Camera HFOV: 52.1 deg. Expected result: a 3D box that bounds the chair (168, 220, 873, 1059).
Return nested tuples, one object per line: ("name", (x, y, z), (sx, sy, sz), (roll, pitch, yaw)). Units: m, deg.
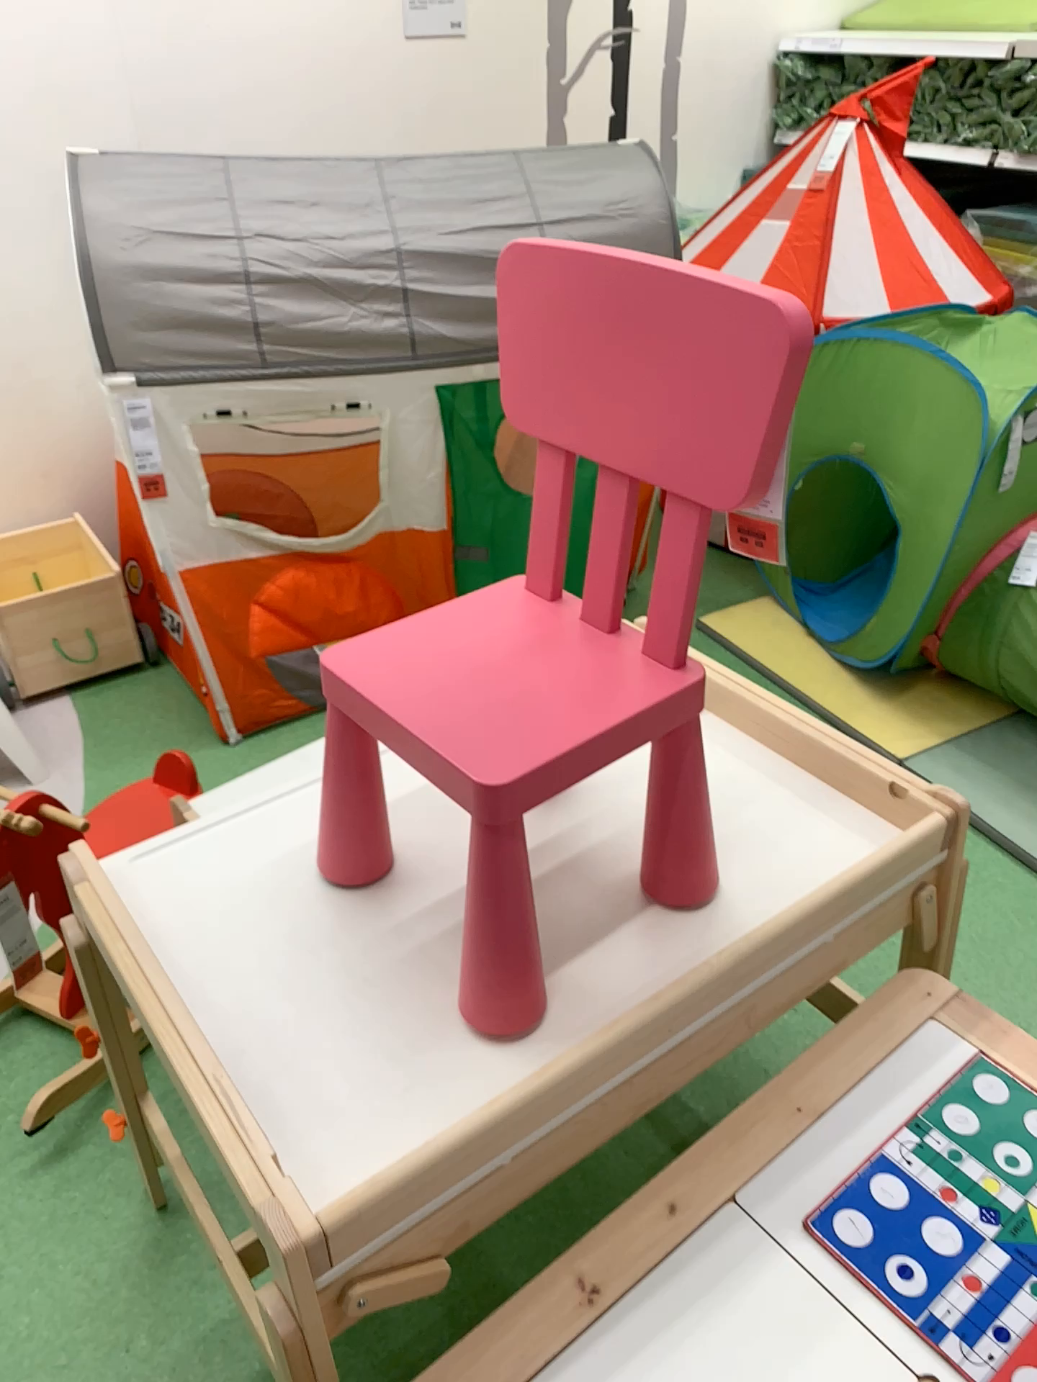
("chair", (-0.006, -0.082, 1.023), (0.400, 0.597, 0.421), (-24, 39, -30))
